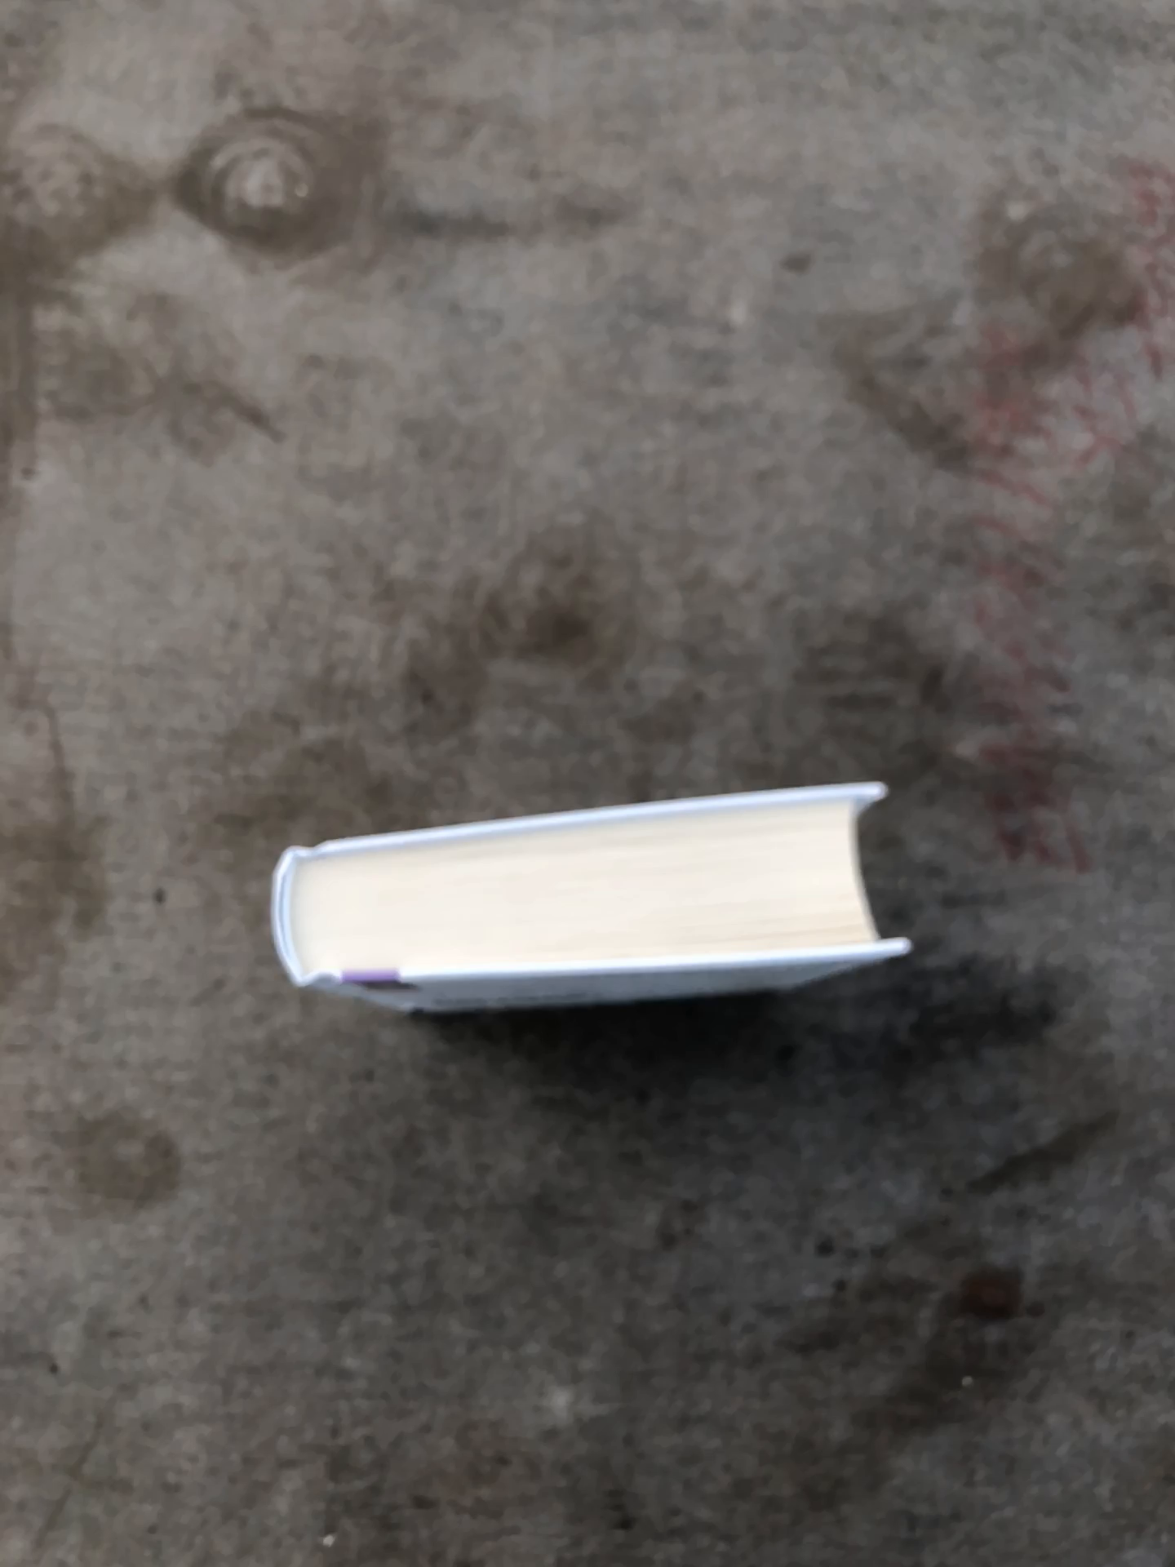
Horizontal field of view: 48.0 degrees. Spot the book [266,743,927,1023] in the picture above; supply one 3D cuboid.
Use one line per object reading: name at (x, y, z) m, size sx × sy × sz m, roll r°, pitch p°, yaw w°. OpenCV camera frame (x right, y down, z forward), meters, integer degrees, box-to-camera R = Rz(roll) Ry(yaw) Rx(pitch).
book at (-0.001, 0.042, 0.429) m, size 0.160 × 0.210 × 0.050 m, roll -4°, pitch 78°, yaw -3°
